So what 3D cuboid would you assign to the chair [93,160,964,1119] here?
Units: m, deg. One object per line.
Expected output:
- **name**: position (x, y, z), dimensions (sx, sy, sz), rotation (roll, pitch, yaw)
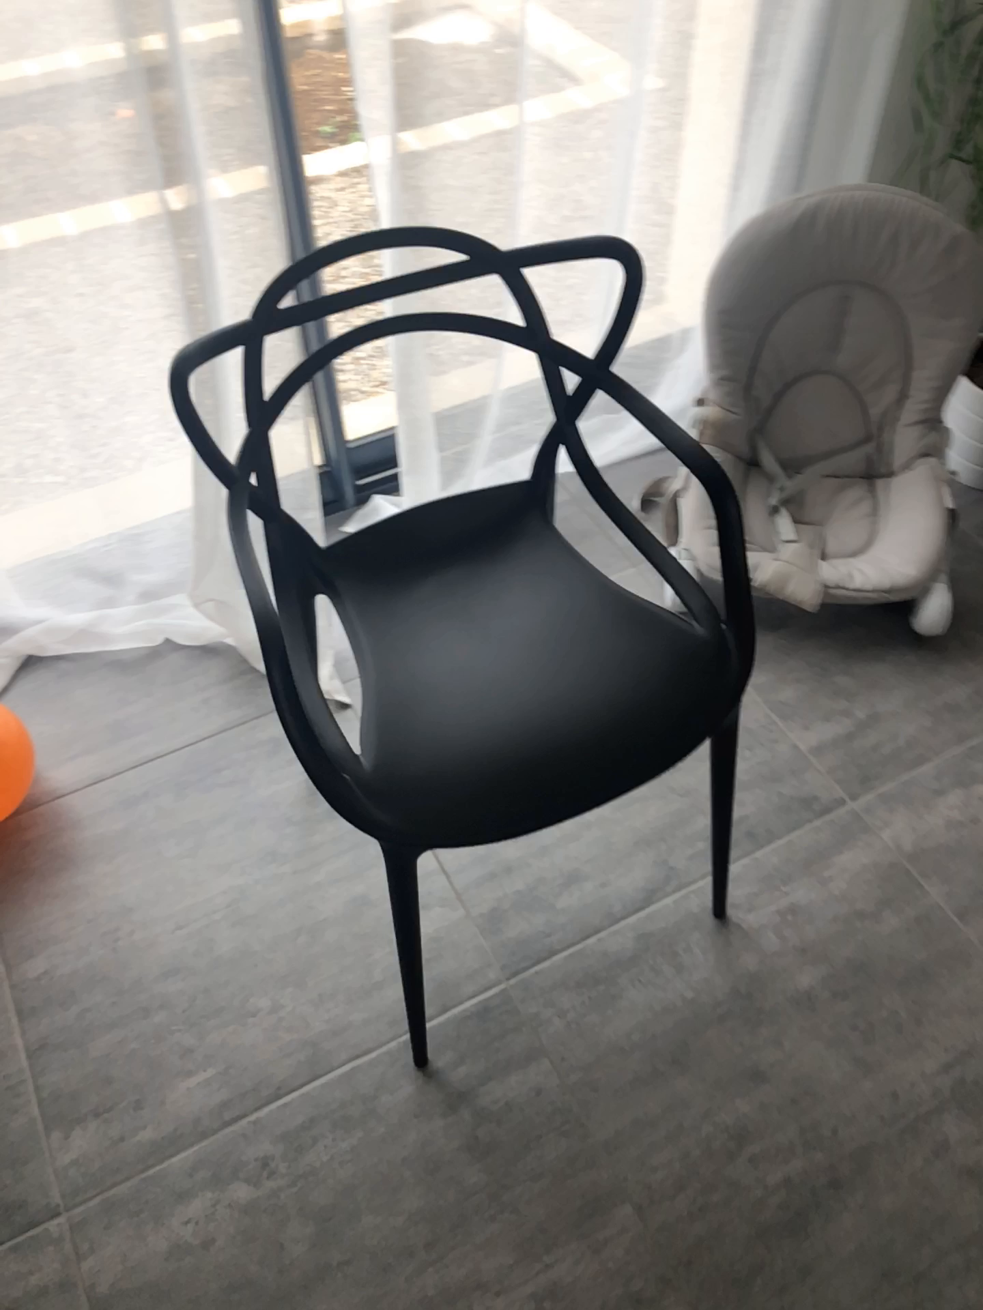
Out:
- **chair**: position (0.002, 0.000, 1.245), dimensions (0.564, 0.795, 0.587), rotation (-21, 51, -16)
